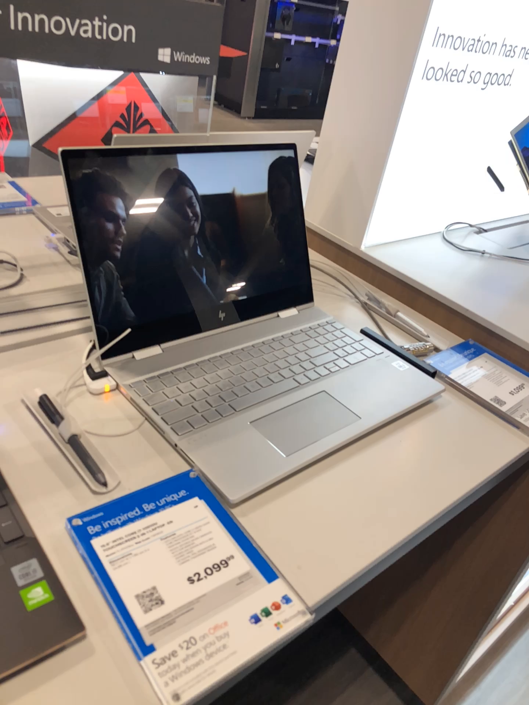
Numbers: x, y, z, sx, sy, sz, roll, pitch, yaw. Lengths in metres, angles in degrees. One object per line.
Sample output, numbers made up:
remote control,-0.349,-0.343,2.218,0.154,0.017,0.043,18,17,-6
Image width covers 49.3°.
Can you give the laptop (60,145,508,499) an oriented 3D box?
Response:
laptop,0.007,-0.086,0.691,0.359,0.210,0.354,-19,42,-38
